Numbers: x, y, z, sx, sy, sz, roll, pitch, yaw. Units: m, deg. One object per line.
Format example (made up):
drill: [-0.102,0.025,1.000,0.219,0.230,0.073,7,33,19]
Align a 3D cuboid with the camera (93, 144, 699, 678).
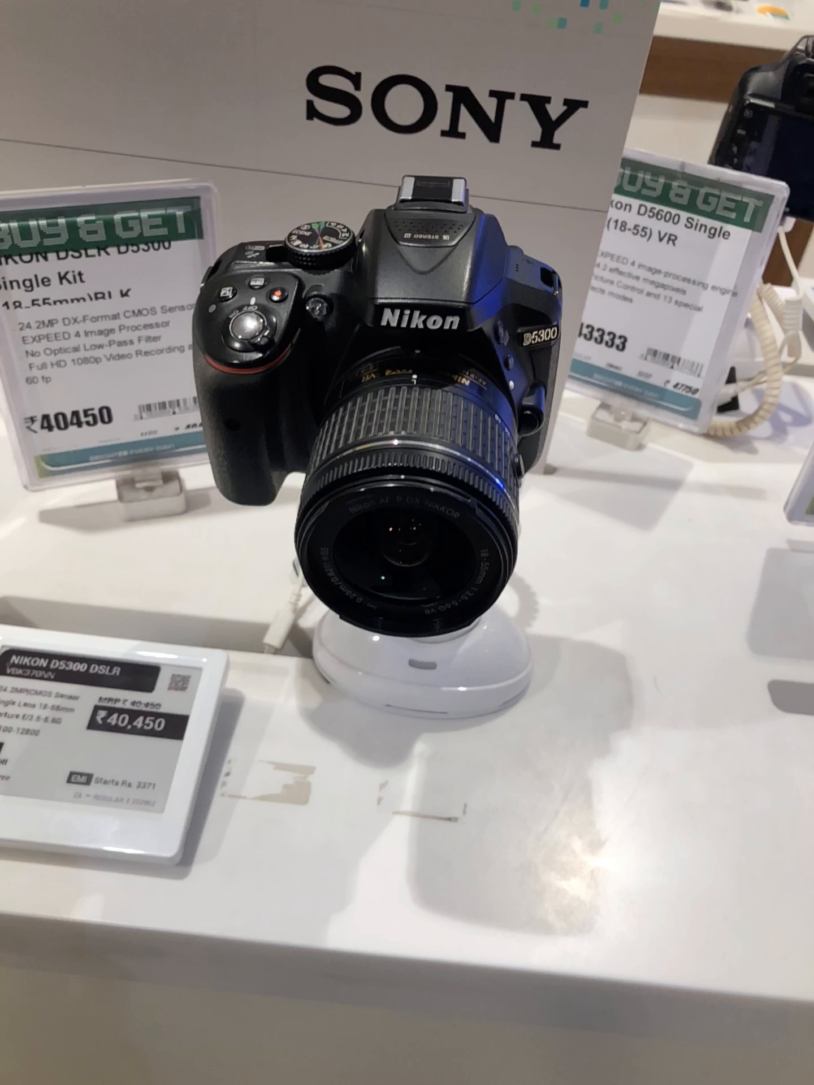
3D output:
camera: [-0.004,-0.048,0.294,0.140,0.099,0.141,5,41,-2]
